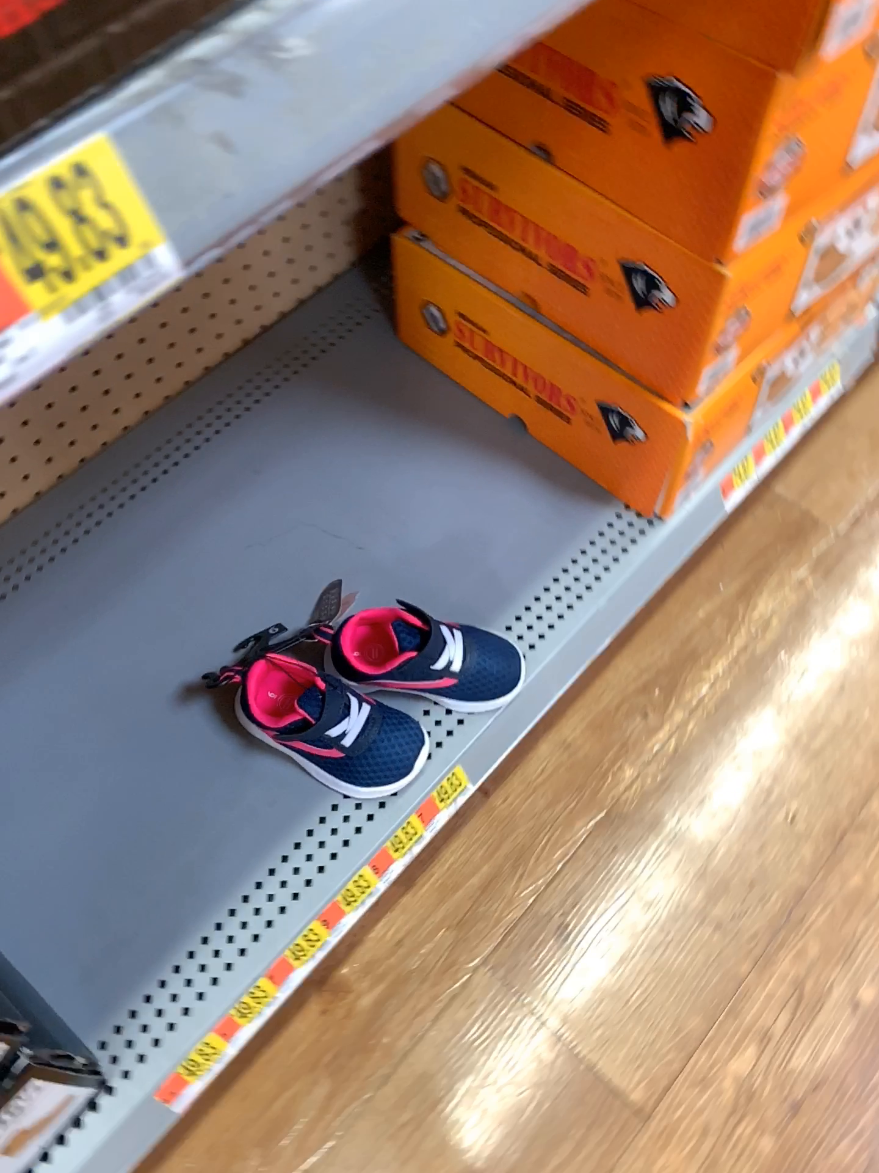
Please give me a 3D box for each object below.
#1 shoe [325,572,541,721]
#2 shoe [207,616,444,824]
[{"bbox_3d":[-0.003,0.045,0.673,0.145,0.064,0.073,7,61,5],"label":"shoe"},{"bbox_3d":[-0.079,0.095,0.646,0.145,0.064,0.073,25,64,14],"label":"shoe"}]
